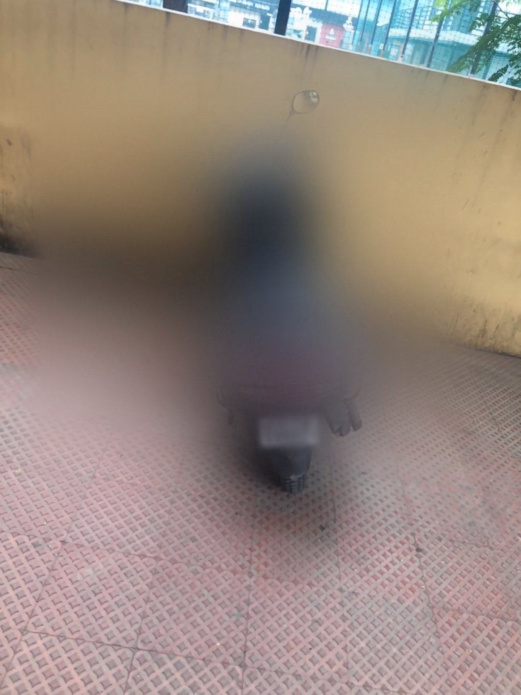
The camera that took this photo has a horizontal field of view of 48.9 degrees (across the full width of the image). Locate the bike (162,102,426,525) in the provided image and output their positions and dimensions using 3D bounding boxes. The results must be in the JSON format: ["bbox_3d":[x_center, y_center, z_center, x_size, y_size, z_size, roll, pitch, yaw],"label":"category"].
[{"bbox_3d":[0.044,-0.262,2.407,0.578,1.139,1.490,9,30,-7],"label":"bike"}]
